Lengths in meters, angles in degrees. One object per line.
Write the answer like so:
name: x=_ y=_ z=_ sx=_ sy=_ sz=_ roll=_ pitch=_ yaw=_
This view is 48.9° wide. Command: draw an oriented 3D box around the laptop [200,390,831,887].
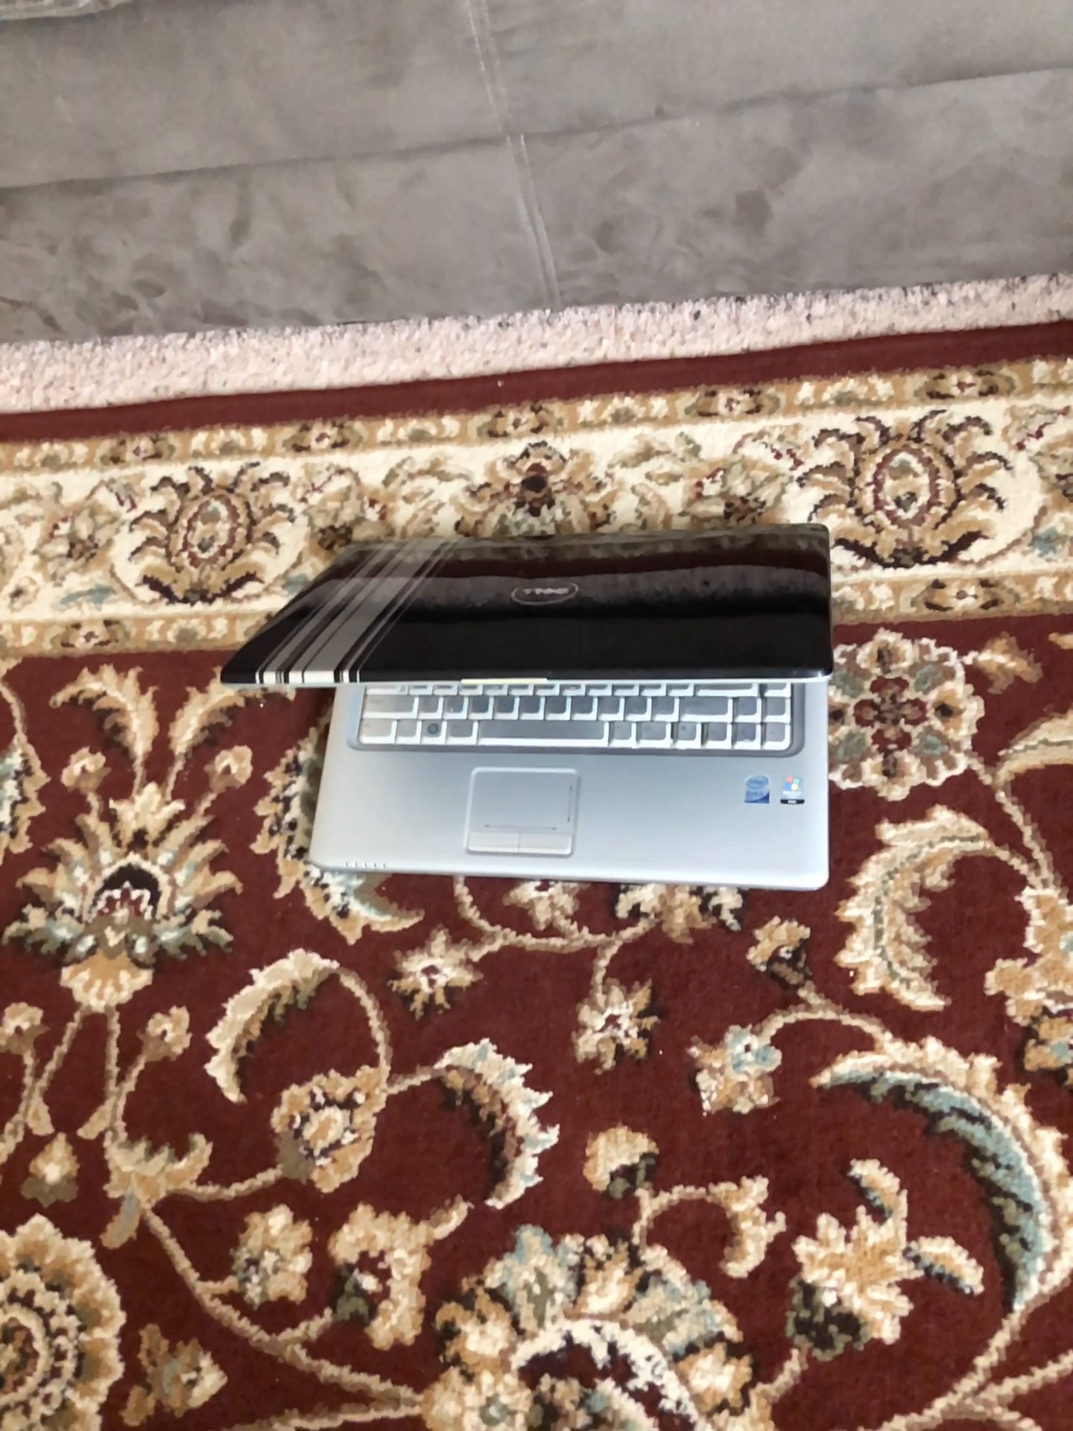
laptop: x=0.007 y=-0.040 z=0.740 sx=0.342 sy=0.164 sz=0.244 roll=0 pitch=67 yaw=13
